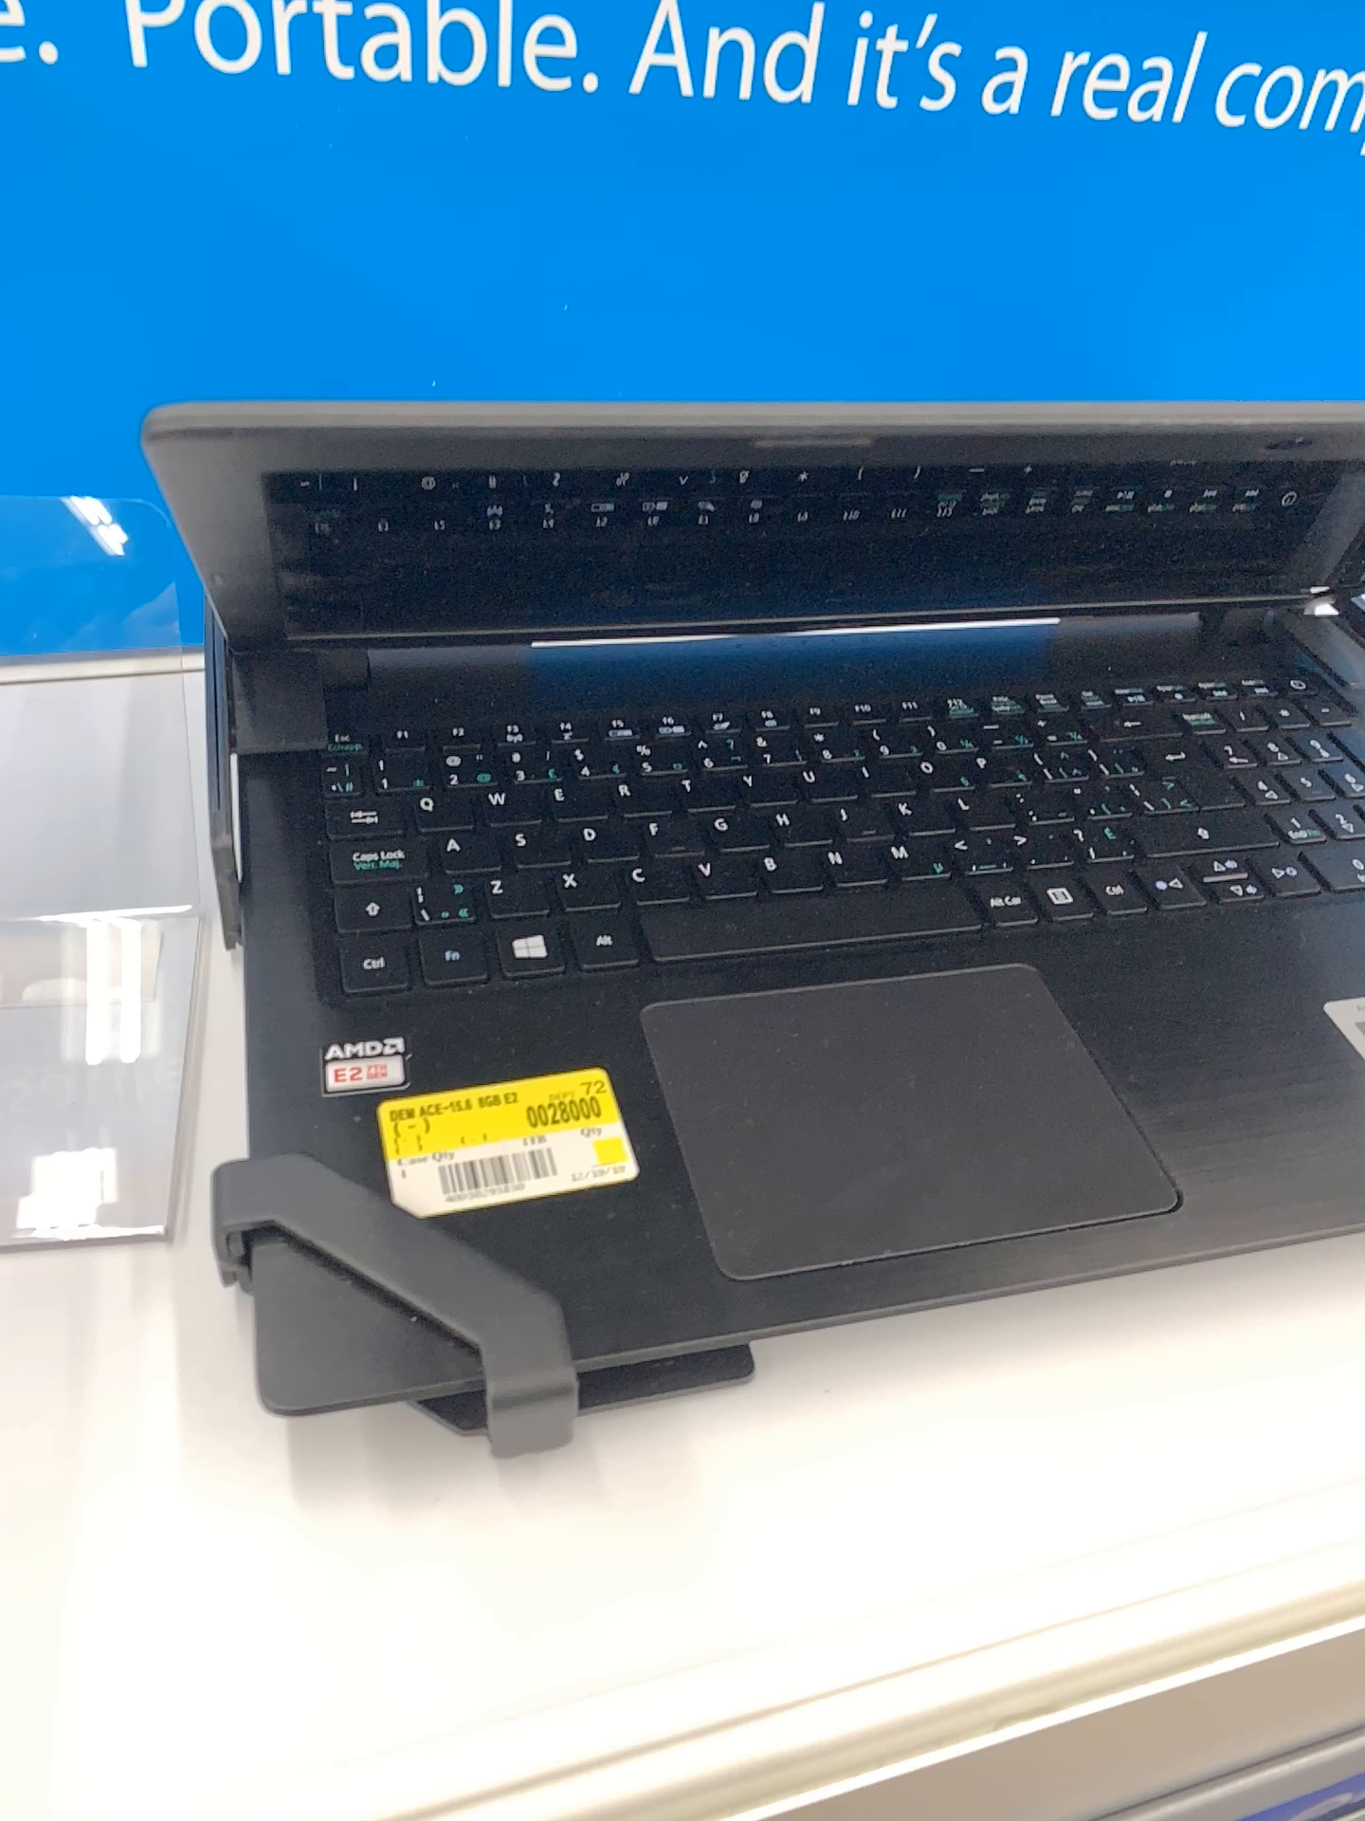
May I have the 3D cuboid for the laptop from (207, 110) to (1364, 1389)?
[{"bbox_3d":[0.089,-0.061,0.329,0.364,0.137,0.222,-5,46,-16],"label":"laptop"}]
